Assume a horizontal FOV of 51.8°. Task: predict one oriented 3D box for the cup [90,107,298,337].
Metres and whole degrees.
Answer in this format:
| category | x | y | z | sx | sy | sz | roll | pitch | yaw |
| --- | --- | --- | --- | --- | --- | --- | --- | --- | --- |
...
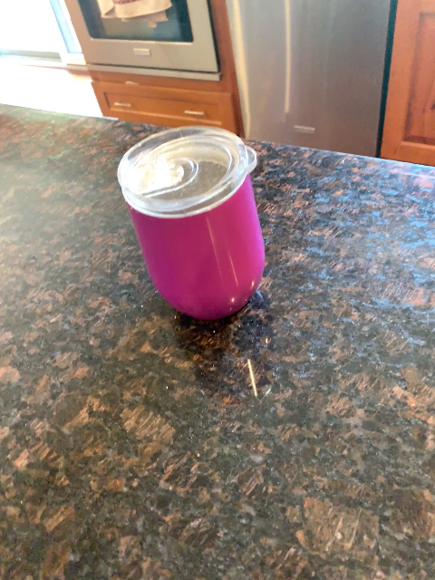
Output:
| category | x | y | z | sx | sy | sz | roll | pitch | yaw |
| --- | --- | --- | --- | --- | --- | --- | --- | --- | --- |
| cup | -0.004 | -0.045 | 0.295 | 0.090 | 0.109 | 0.090 | -6 | 47 | 7 |
